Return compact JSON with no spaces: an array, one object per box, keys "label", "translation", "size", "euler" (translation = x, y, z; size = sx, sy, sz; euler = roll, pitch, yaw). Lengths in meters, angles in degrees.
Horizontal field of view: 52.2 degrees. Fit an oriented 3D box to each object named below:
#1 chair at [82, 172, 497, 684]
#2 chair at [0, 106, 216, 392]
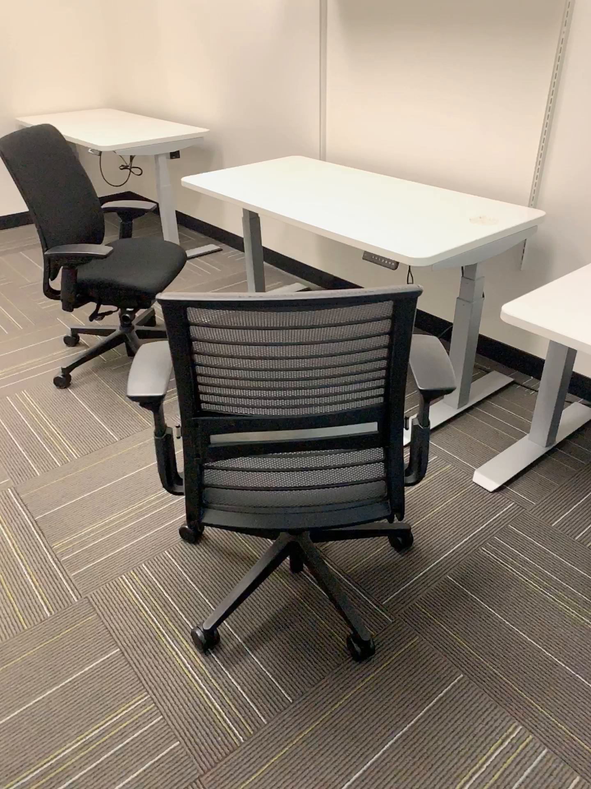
[{"label":"chair","translation":[-0.030,0.066,1.458],"size":[0.640,0.994,0.644],"euler":[-4,32,-5]},{"label":"chair","translation":[-0.793,-0.636,2.580],"size":[0.700,0.994,0.734],"euler":[1,32,3]}]
